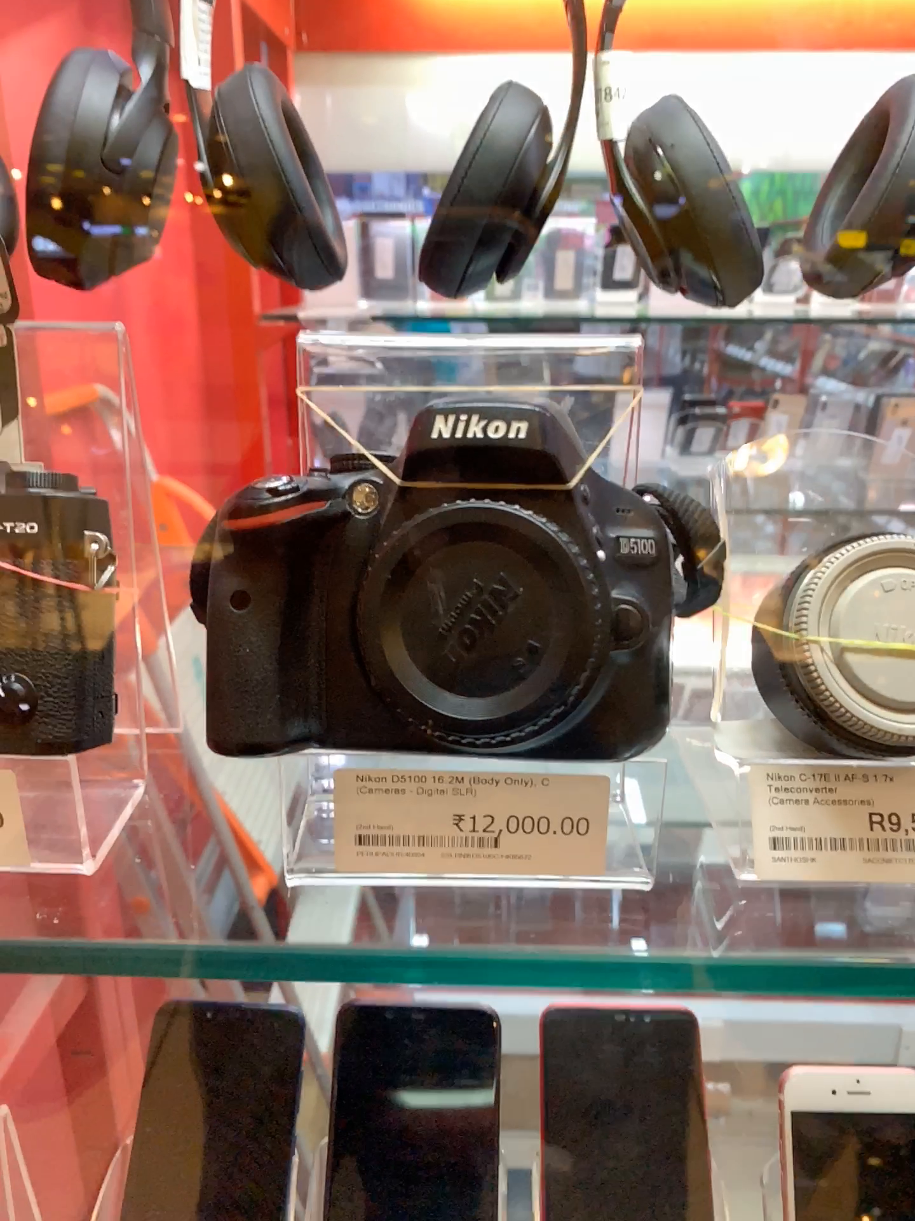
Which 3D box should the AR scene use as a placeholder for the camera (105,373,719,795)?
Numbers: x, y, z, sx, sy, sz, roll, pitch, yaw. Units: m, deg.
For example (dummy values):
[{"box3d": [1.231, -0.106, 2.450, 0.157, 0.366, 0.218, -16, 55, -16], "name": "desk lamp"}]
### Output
[{"box3d": [-0.009, -0.012, 0.247, 0.130, 0.090, 0.070, 1, 20, 2], "name": "camera"}]
